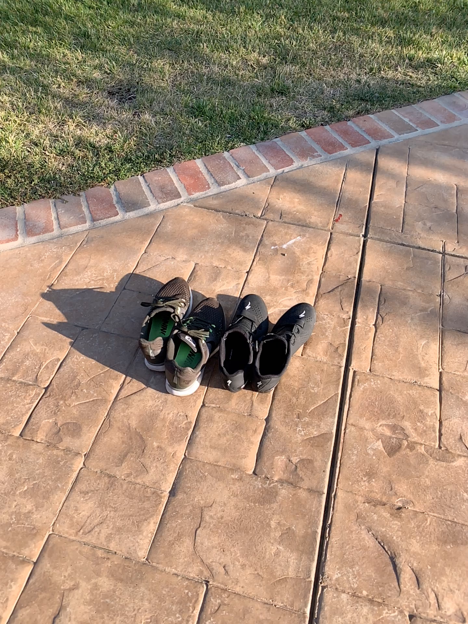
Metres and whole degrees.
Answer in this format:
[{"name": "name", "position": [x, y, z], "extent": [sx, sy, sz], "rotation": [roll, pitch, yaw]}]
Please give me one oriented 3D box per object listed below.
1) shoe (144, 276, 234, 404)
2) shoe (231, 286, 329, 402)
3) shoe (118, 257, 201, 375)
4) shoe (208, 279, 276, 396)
[{"name": "shoe", "position": [-0.100, 0.061, 1.170], "extent": [0.120, 0.100, 0.291], "rotation": [13, 53, 11]}, {"name": "shoe", "position": [0.115, 0.069, 1.157], "extent": [0.100, 0.060, 0.291], "rotation": [27, 57, 20]}, {"name": "shoe", "position": [-0.182, 0.003, 1.224], "extent": [0.120, 0.100, 0.291], "rotation": [8, 53, 8]}, {"name": "shoe", "position": [0.025, 0.055, 1.156], "extent": [0.110, 0.070, 0.281], "rotation": [8, 53, 8]}]
